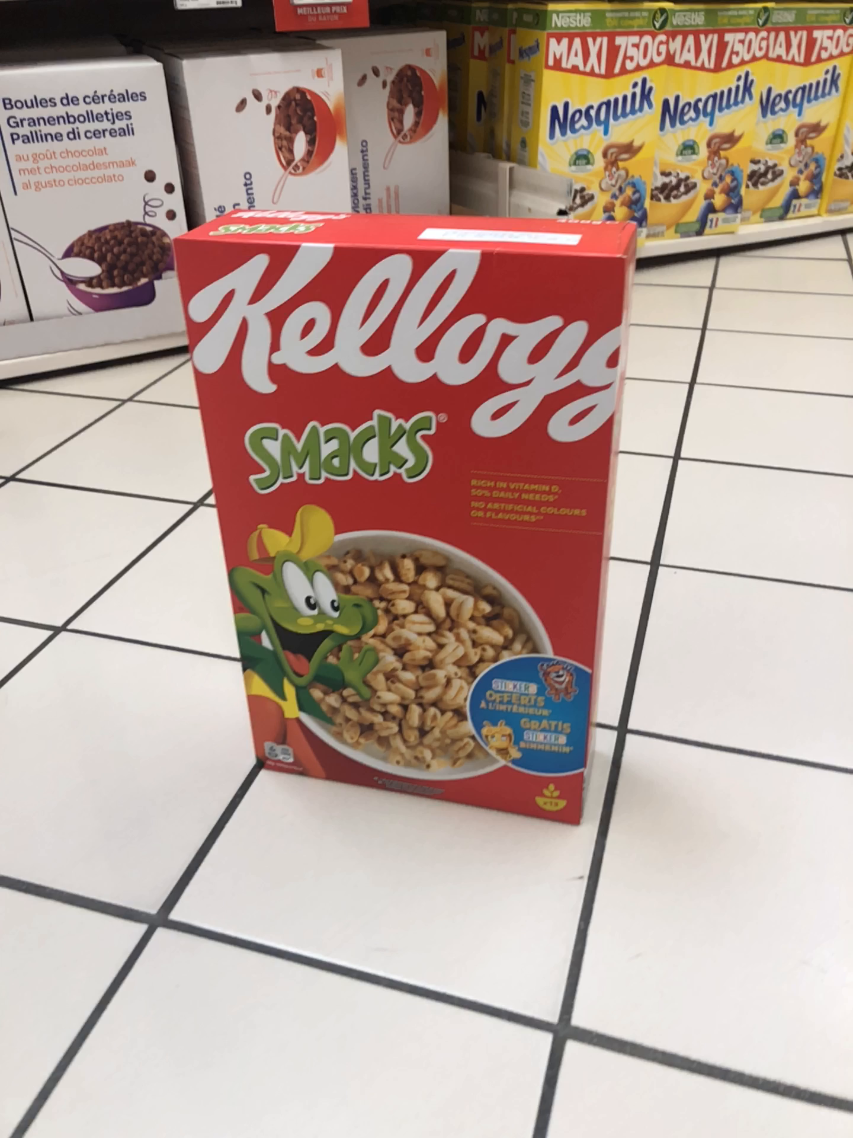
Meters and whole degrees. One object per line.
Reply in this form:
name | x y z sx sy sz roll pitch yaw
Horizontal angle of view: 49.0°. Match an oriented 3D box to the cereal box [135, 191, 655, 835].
cereal box | -0.006 -0.020 0.465 0.200 0.298 0.081 6 33 13
